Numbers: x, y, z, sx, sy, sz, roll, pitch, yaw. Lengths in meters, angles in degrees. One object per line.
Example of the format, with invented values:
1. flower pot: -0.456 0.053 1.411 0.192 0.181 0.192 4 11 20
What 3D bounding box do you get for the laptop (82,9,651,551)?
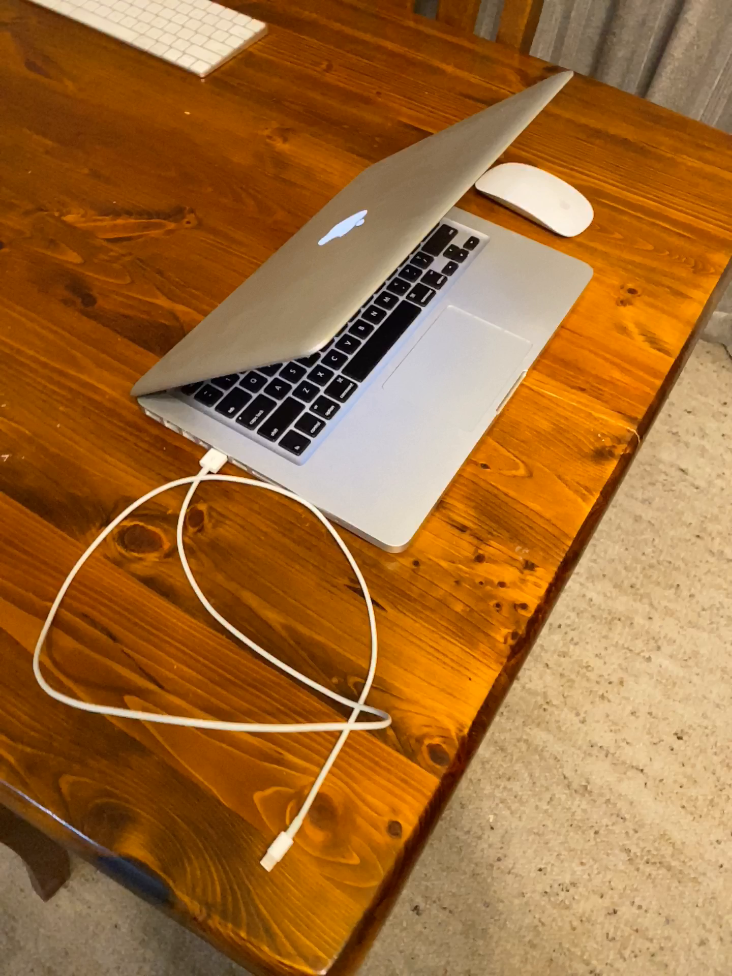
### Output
1. laptop: 0.016 -0.157 0.508 0.211 0.136 0.312 29 61 14
